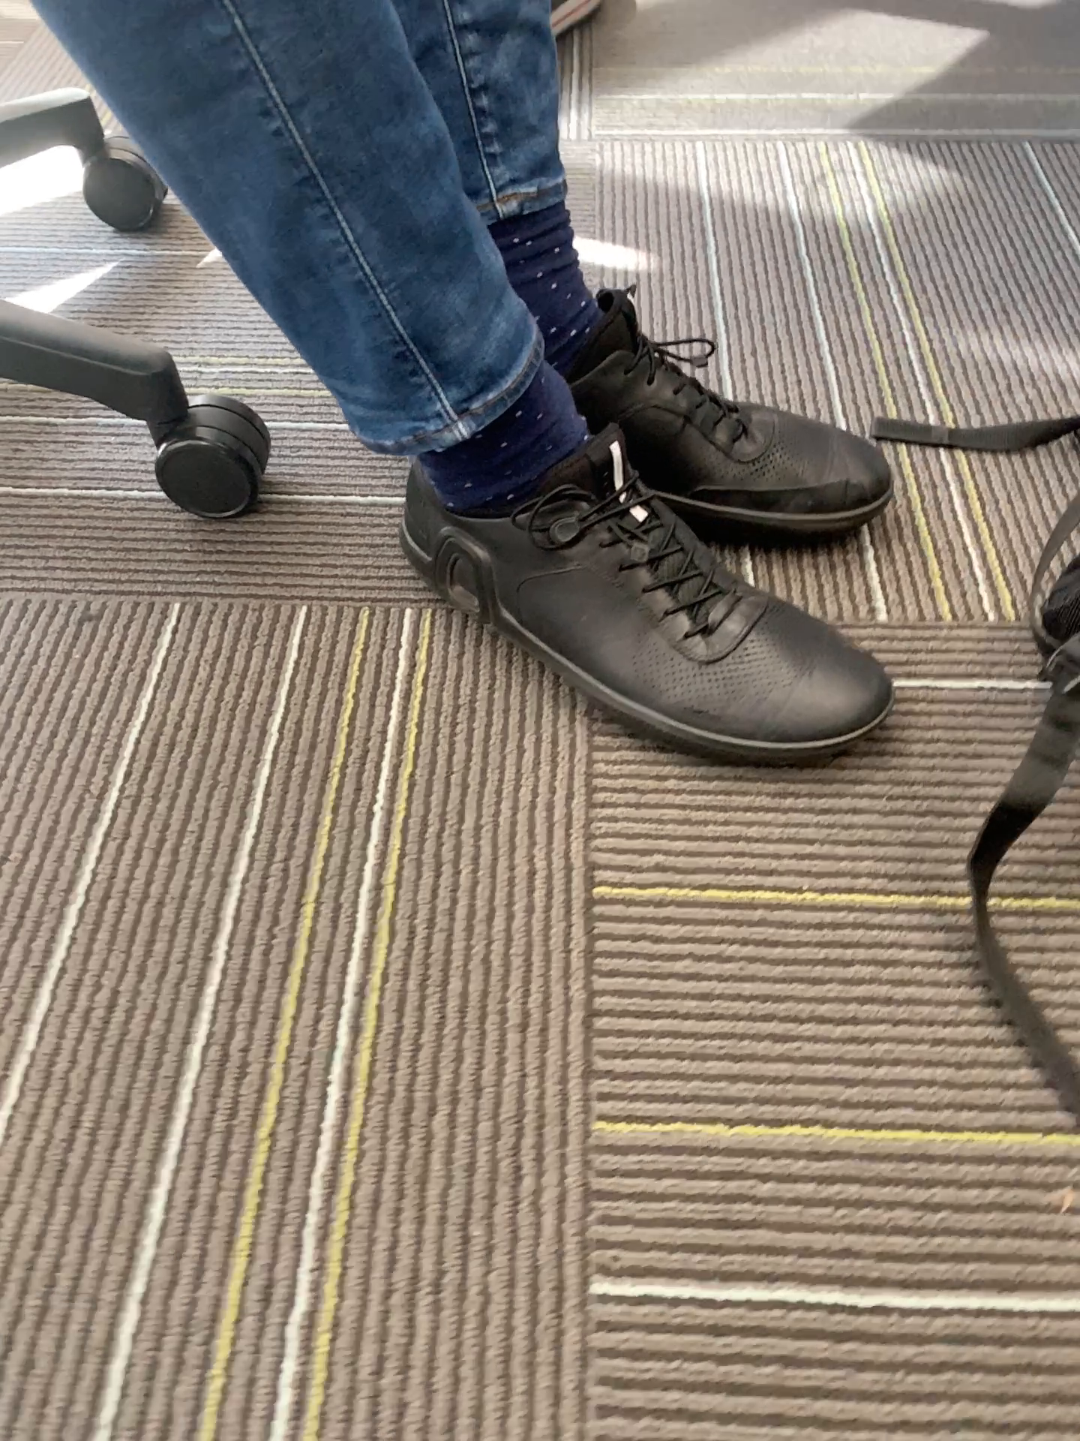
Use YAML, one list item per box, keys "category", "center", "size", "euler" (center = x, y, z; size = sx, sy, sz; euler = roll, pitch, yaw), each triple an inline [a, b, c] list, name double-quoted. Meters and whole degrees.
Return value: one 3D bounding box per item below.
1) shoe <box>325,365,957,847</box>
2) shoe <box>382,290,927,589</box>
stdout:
- category: "shoe"
  center: [0.044, -0.072, 0.603]
  size: [0.311, 0.100, 0.110]
  euler: [29, 57, 21]
- category: "shoe"
  center: [0.071, -0.179, 0.696]
  size: [0.310, 0.100, 0.110]
  euler: [9, 52, 8]
